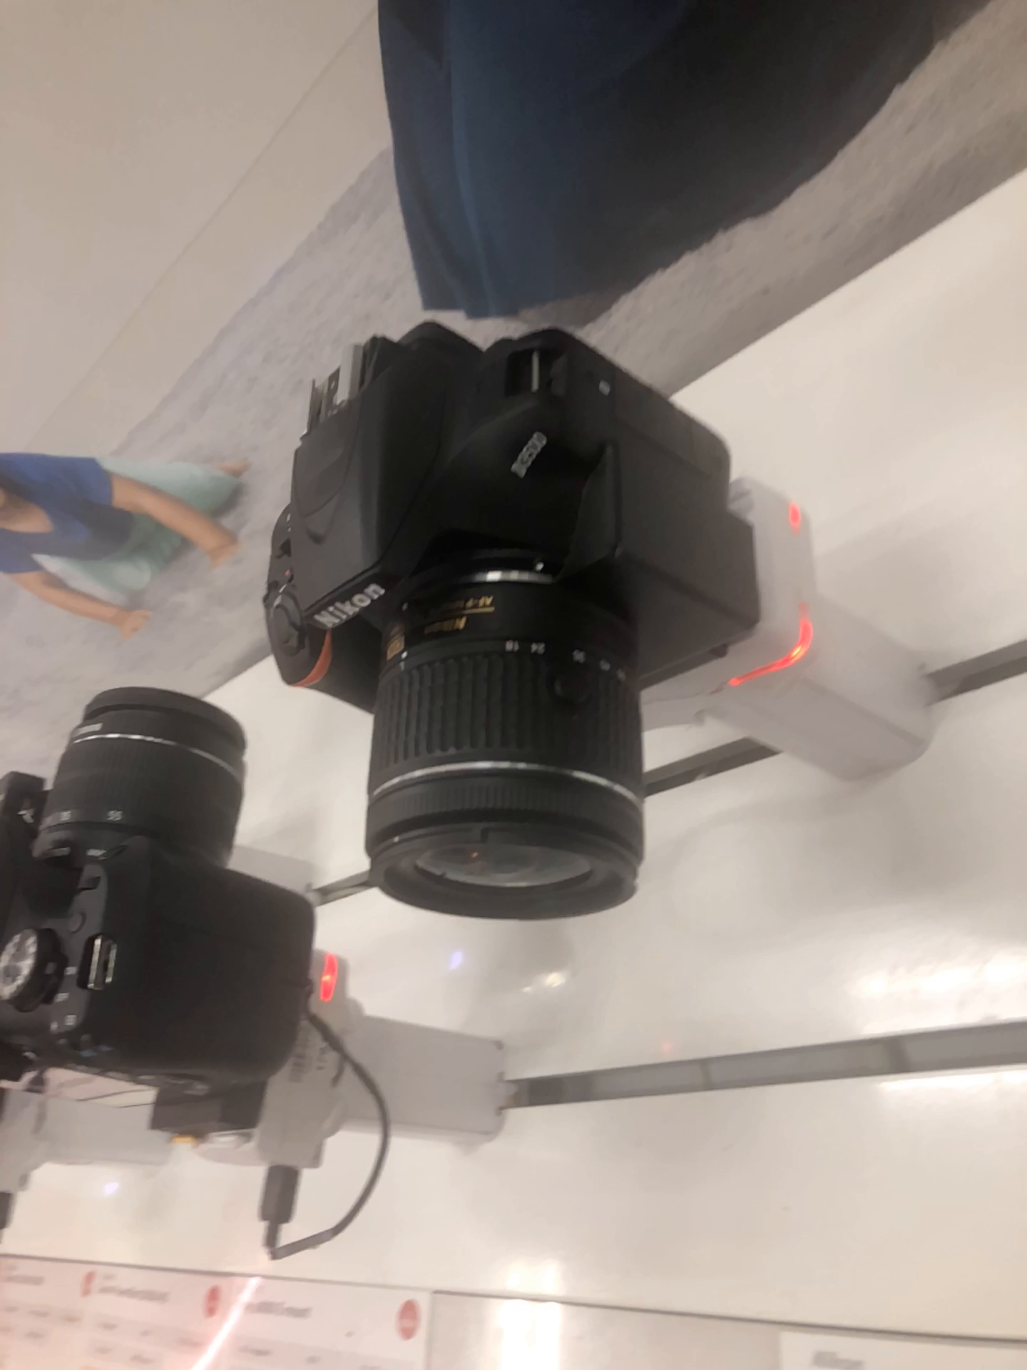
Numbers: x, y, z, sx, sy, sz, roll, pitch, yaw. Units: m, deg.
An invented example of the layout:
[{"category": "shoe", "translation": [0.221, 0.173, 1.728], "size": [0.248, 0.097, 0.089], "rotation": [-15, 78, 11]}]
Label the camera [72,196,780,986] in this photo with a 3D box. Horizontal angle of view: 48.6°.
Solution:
[{"category": "camera", "translation": [-0.023, -0.006, 0.277], "size": [0.141, 0.090, 0.130], "rotation": [-23, 55, 45]}]
